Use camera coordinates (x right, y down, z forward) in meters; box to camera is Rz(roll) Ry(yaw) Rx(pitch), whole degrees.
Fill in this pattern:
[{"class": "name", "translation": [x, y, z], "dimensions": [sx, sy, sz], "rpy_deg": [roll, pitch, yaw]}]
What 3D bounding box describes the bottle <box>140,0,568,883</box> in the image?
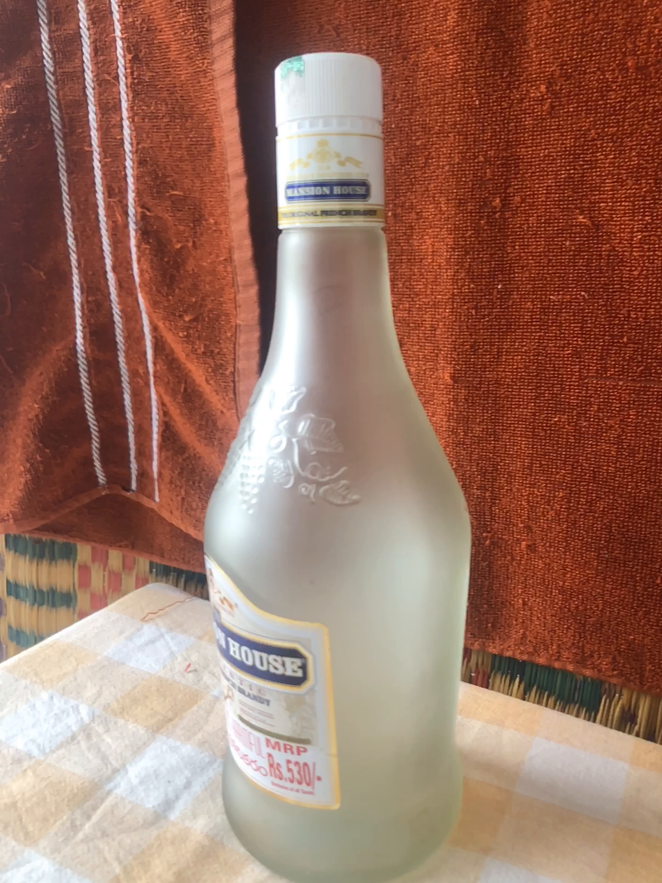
[{"class": "bottle", "translation": [0.001, 0.007, 0.240], "dimensions": [0.090, 0.249, 0.090], "rpy_deg": [0, 16, 0]}]
